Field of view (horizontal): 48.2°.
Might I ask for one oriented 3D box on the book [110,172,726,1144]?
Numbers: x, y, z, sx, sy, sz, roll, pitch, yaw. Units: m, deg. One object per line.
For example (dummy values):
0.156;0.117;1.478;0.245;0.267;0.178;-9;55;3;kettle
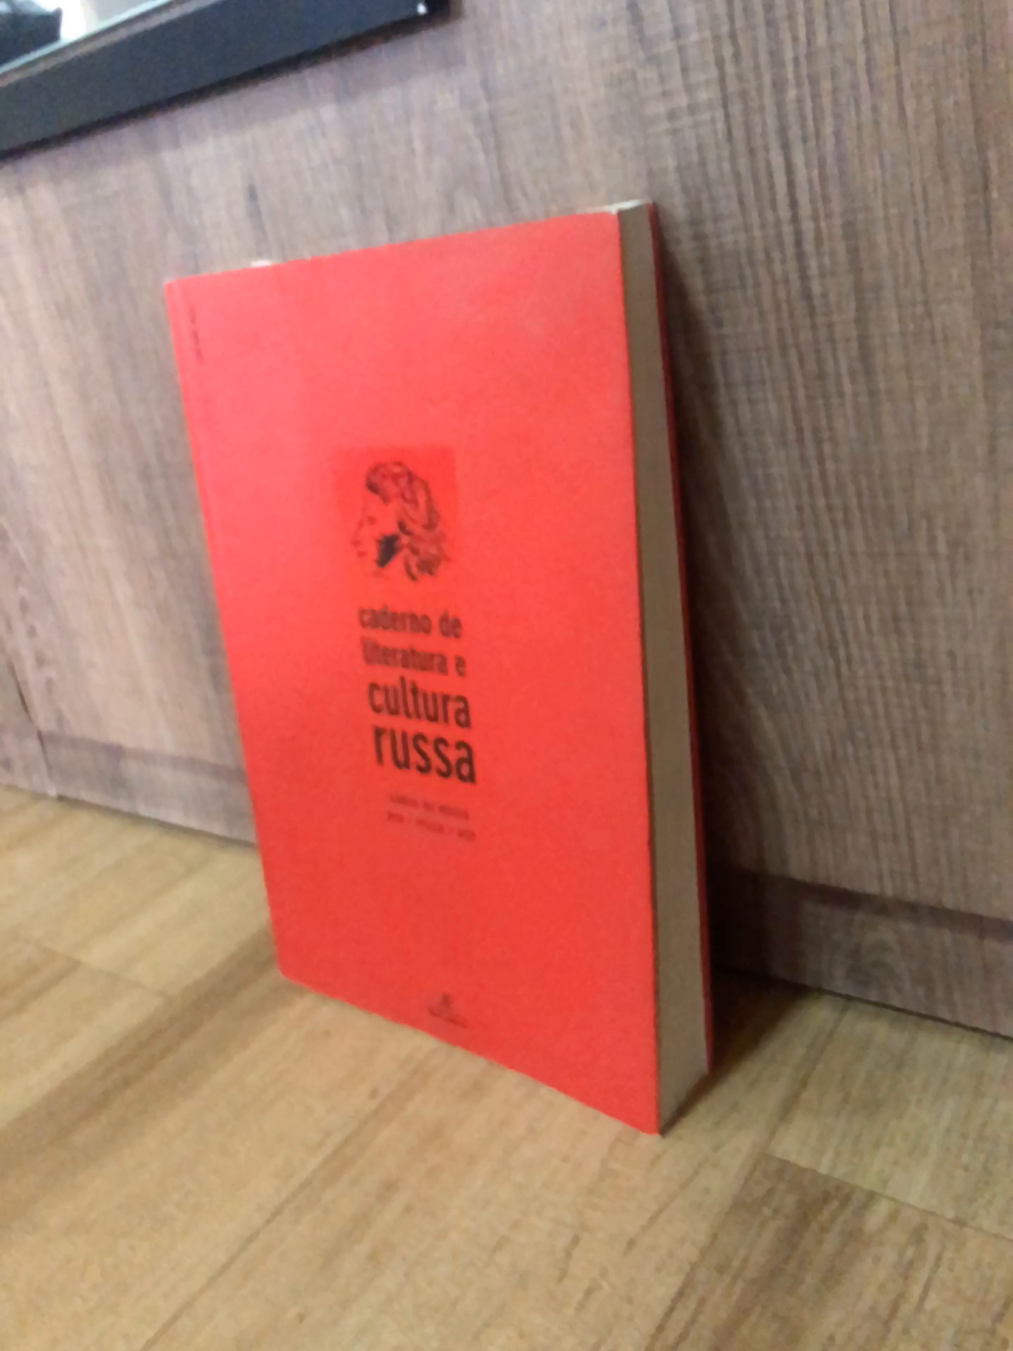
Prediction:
-0.031;-0.006;0.353;0.187;0.249;0.040;7;20;39;book
